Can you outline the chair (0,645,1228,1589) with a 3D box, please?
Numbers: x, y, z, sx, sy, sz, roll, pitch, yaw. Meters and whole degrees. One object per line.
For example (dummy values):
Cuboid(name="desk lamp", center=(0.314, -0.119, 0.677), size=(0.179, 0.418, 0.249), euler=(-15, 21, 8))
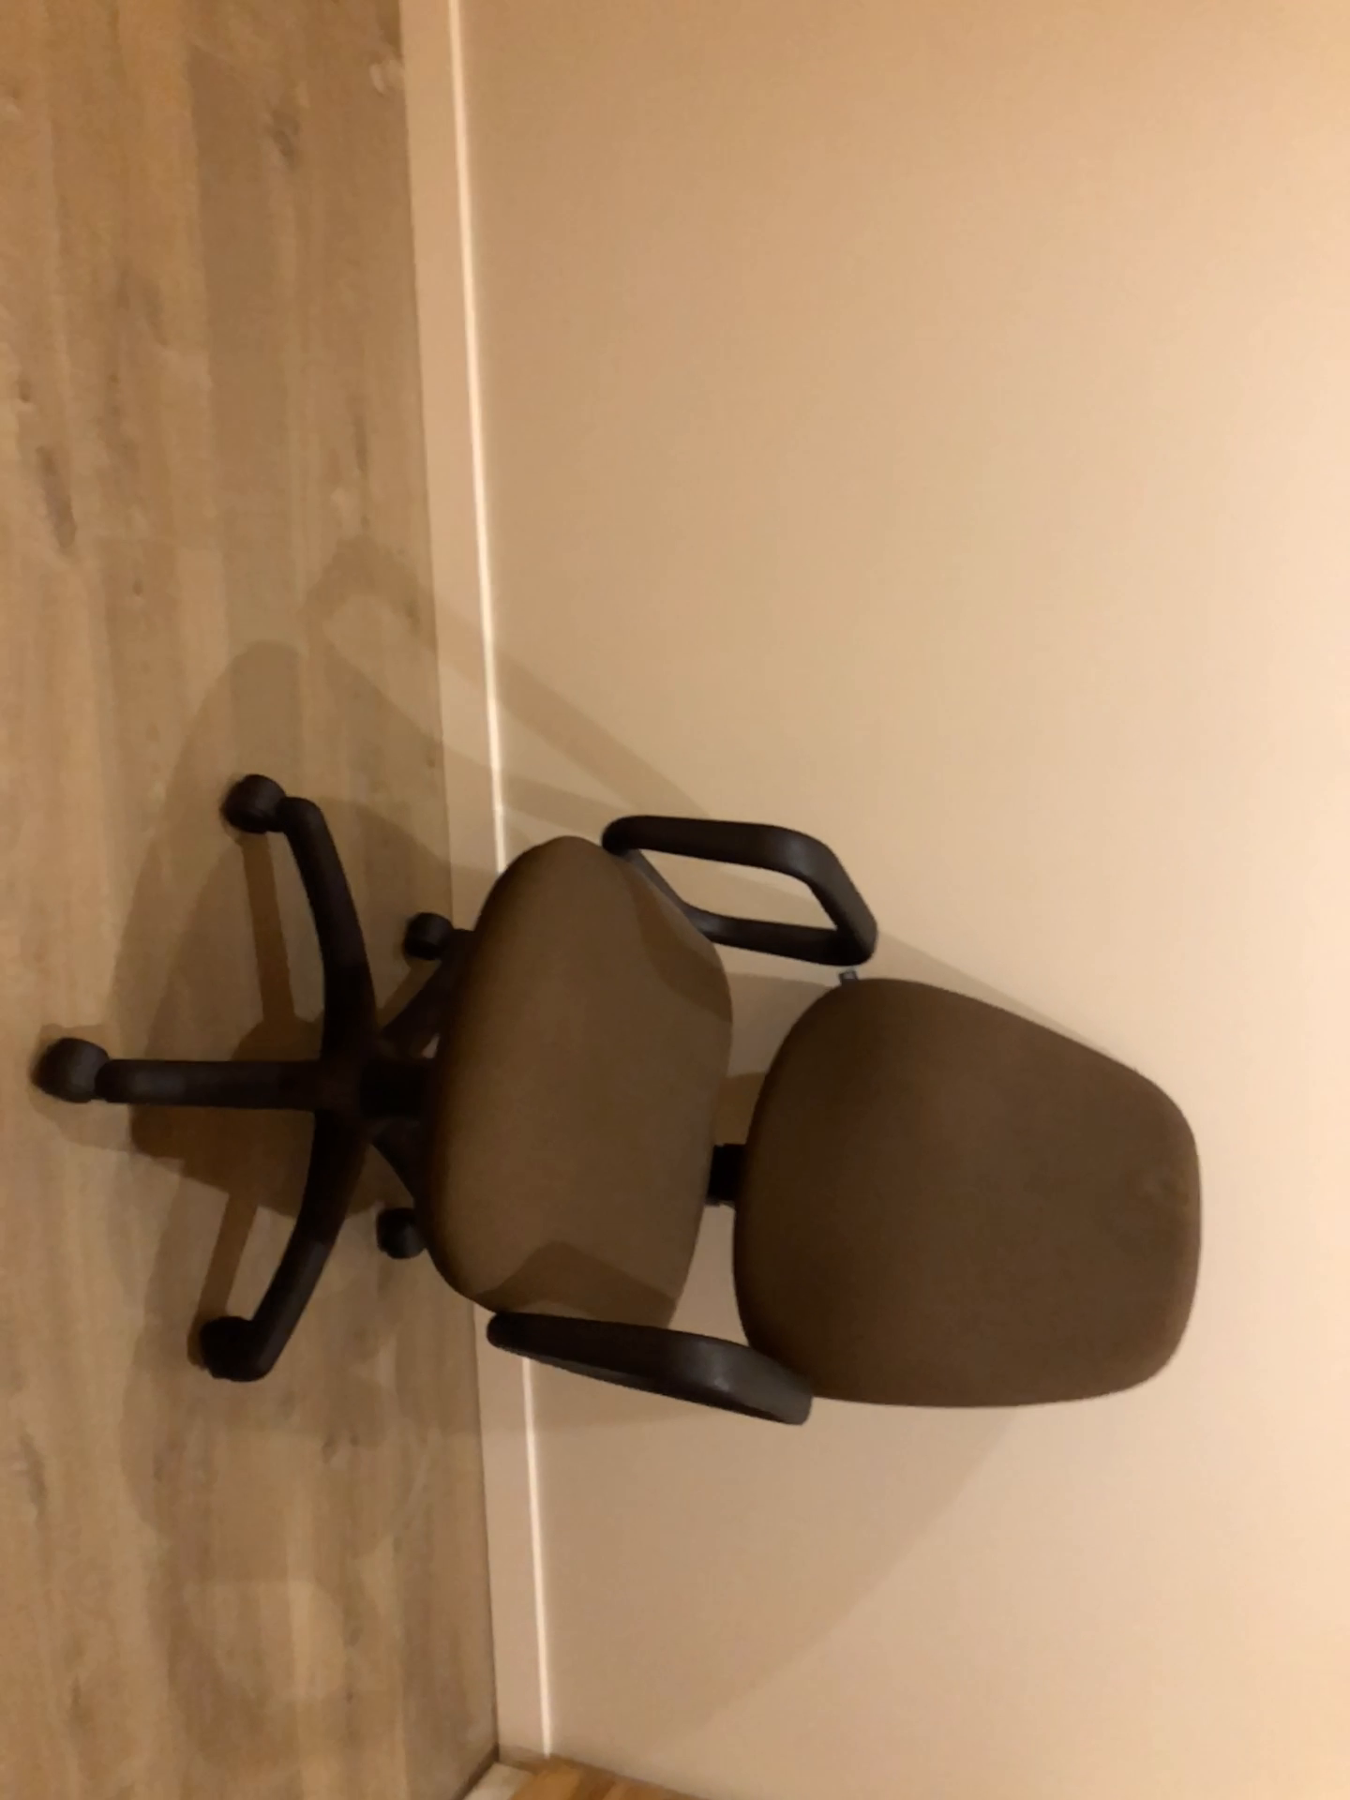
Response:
Cuboid(name="chair", center=(-0.013, 0.235, 1.474), size=(0.713, 0.975, 0.631), euler=(47, 50, -57))
